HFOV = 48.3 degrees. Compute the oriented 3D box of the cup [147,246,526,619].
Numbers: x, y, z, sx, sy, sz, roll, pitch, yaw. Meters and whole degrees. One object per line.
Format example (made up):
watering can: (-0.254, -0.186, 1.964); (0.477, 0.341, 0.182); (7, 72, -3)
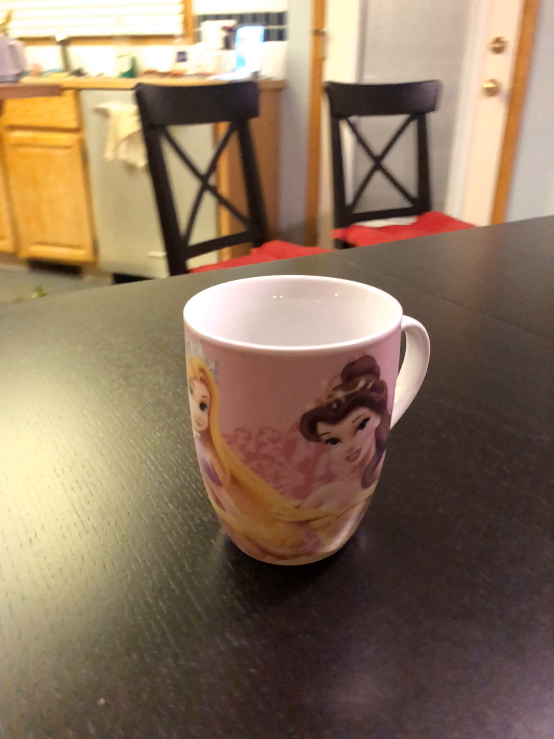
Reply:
cup: (0.023, 0.014, 0.266); (0.120, 0.099, 0.090); (-16, 30, -32)
